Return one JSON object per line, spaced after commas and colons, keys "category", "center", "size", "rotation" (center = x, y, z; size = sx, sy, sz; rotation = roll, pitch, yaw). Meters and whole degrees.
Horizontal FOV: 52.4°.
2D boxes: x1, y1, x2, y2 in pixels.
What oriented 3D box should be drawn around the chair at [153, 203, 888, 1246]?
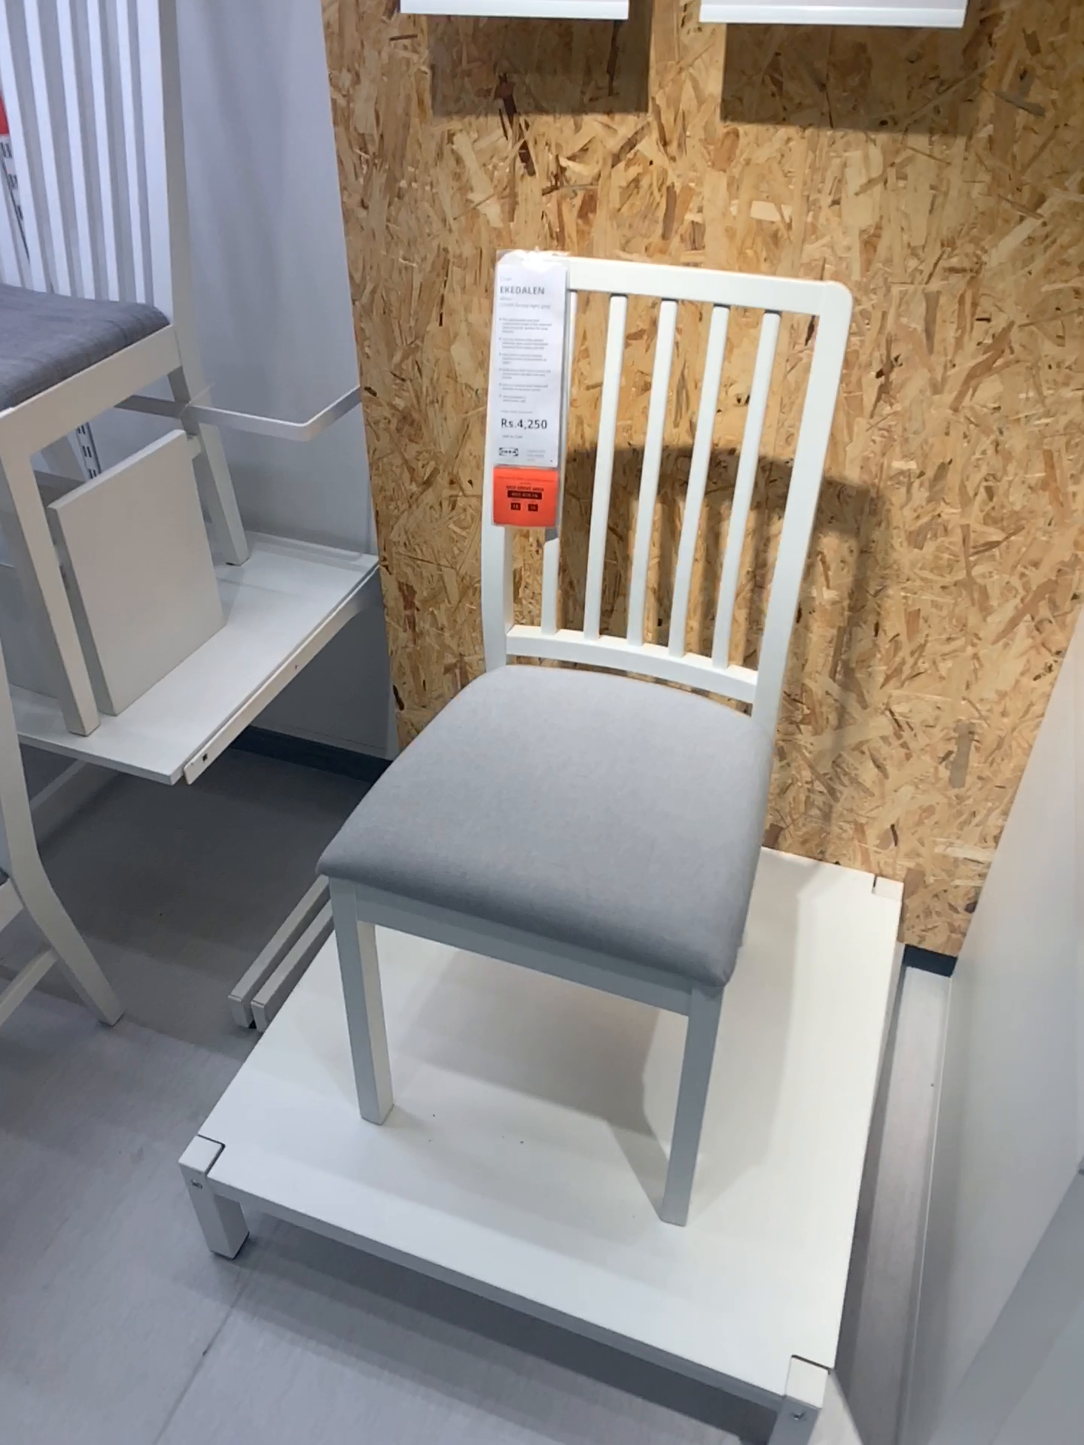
{"category": "chair", "center": [0.027, 0.013, 1.147], "size": [0.431, 0.886, 0.512], "rotation": [13, 40, 16]}
